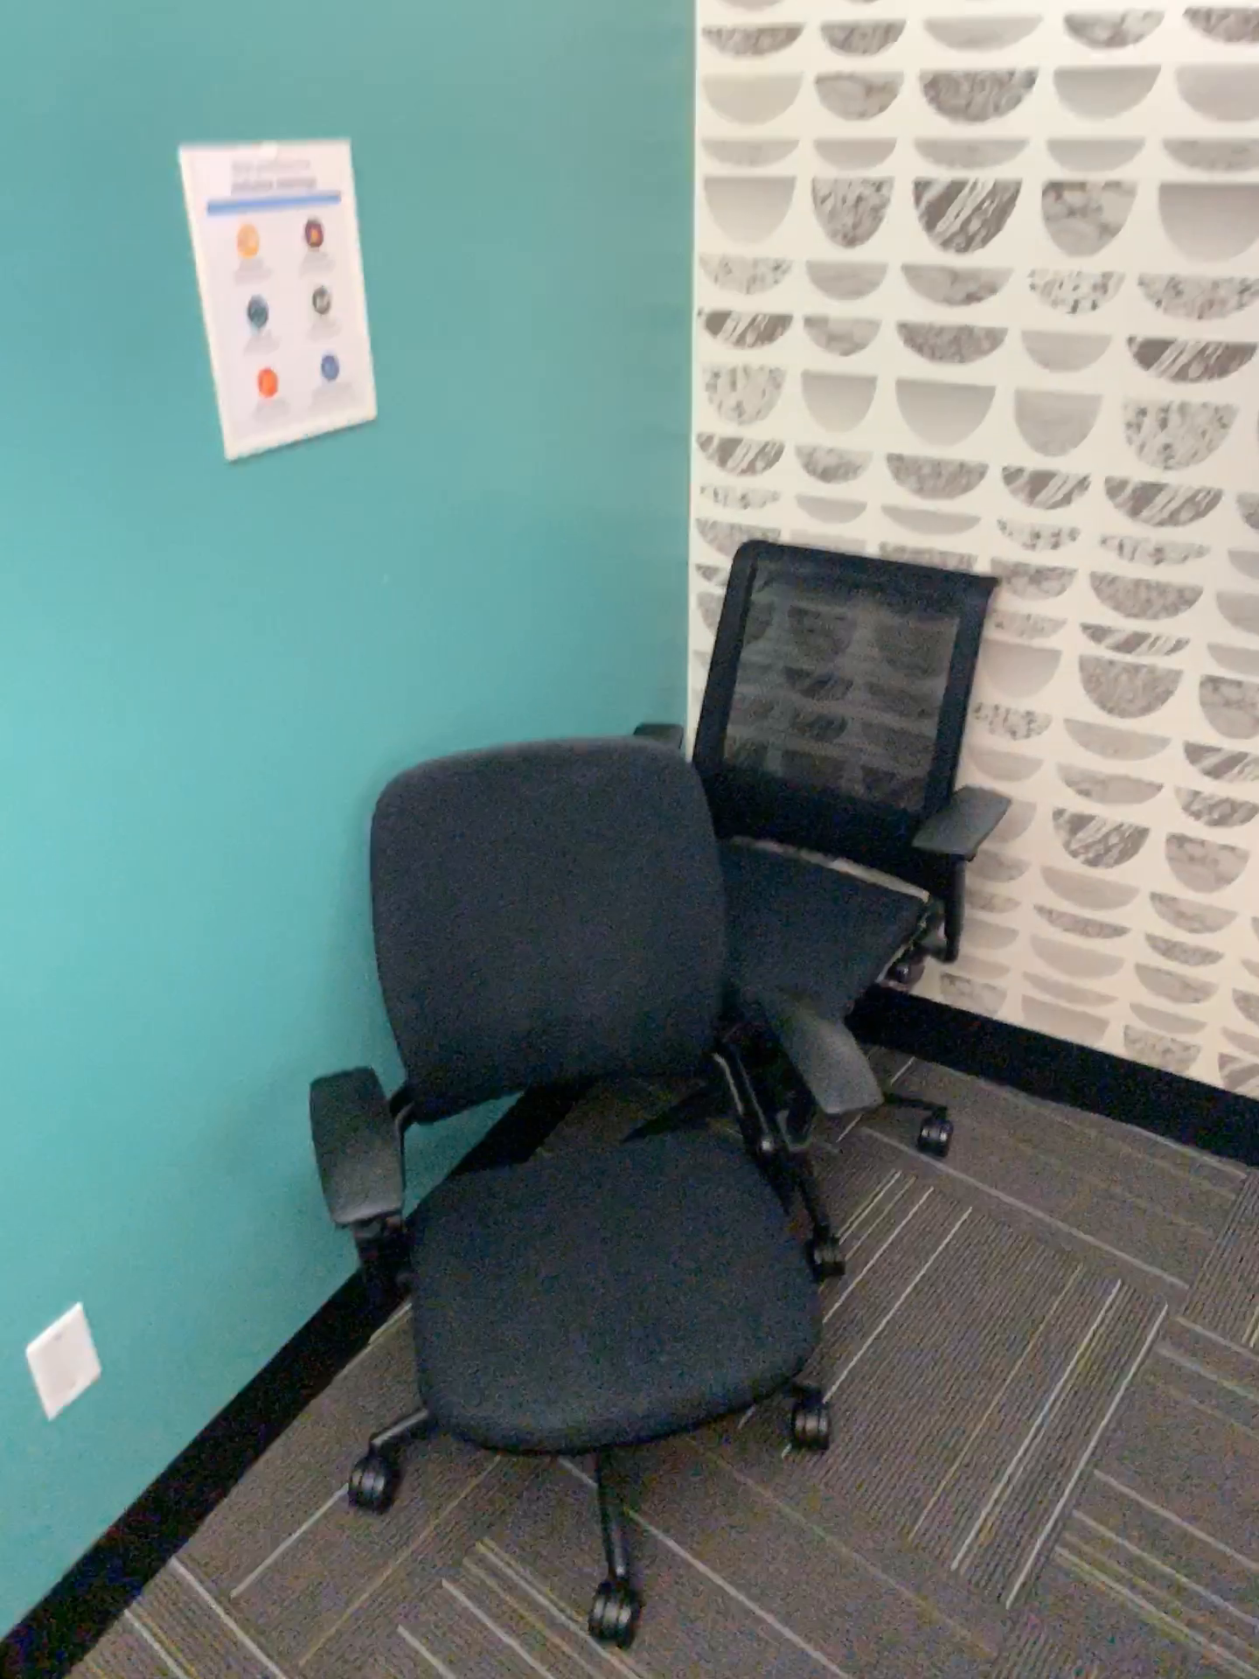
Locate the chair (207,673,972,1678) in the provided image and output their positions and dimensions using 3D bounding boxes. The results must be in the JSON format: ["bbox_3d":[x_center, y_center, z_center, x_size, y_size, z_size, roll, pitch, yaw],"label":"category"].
[{"bbox_3d":[-0.097,0.405,1.642,0.660,0.944,0.775,-7,30,-11],"label":"chair"}]
